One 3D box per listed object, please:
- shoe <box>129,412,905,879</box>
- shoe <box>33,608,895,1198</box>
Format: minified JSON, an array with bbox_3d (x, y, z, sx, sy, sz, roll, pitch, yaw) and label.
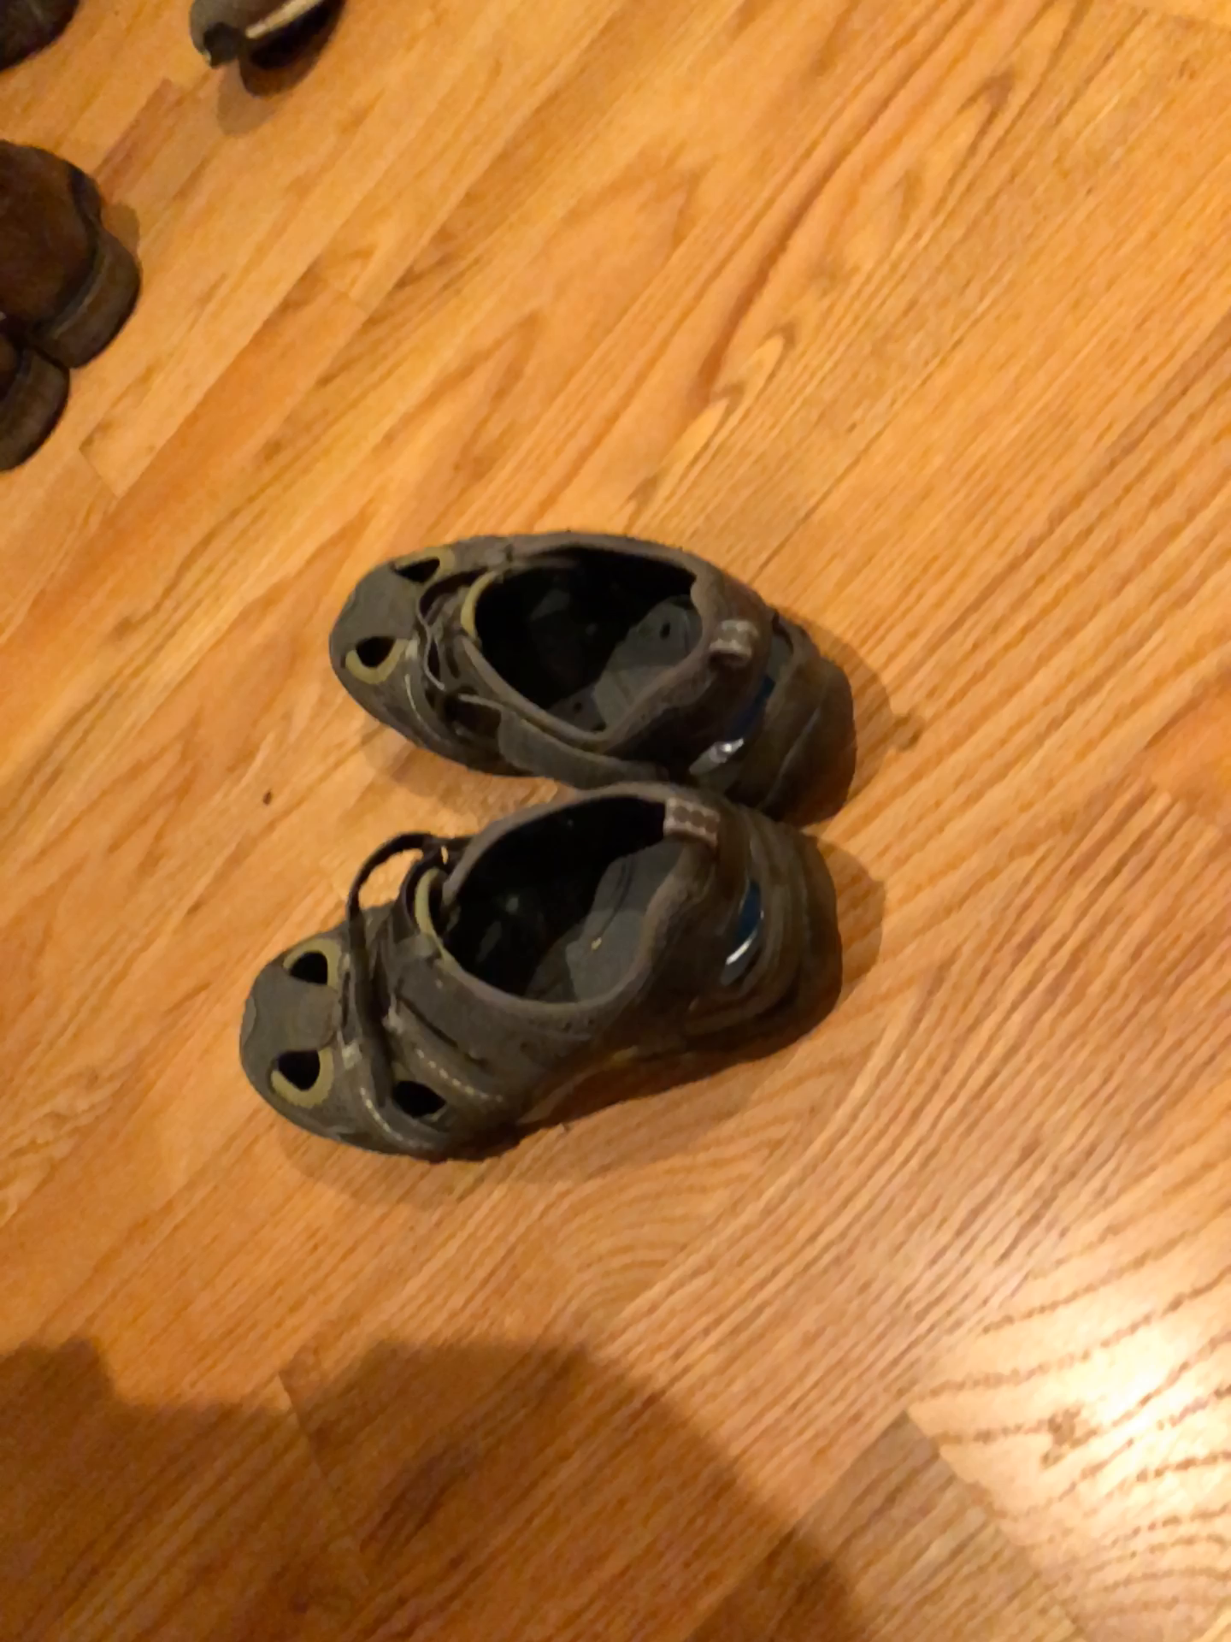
[{"bbox_3d":[-0.043,-0.071,0.487,0.246,0.113,0.100,14,77,39],"label":"shoe"},{"bbox_3d":[-0.053,0.043,0.438,0.245,0.113,0.100,-19,59,27],"label":"shoe"}]
